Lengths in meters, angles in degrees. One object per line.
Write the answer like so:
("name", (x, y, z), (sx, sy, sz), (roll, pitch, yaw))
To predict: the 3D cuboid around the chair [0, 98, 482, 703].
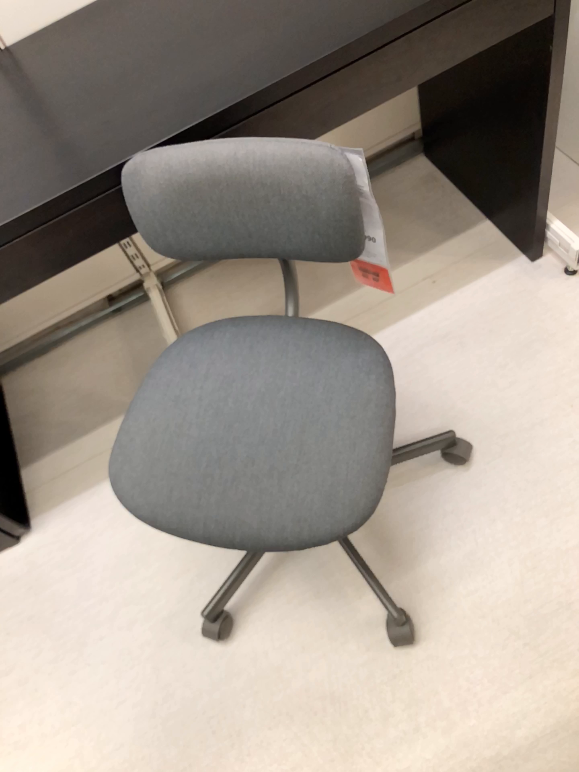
("chair", (-0.048, 0.062, 1.004), (0.621, 0.677, 0.592), (4, 60, 19))
